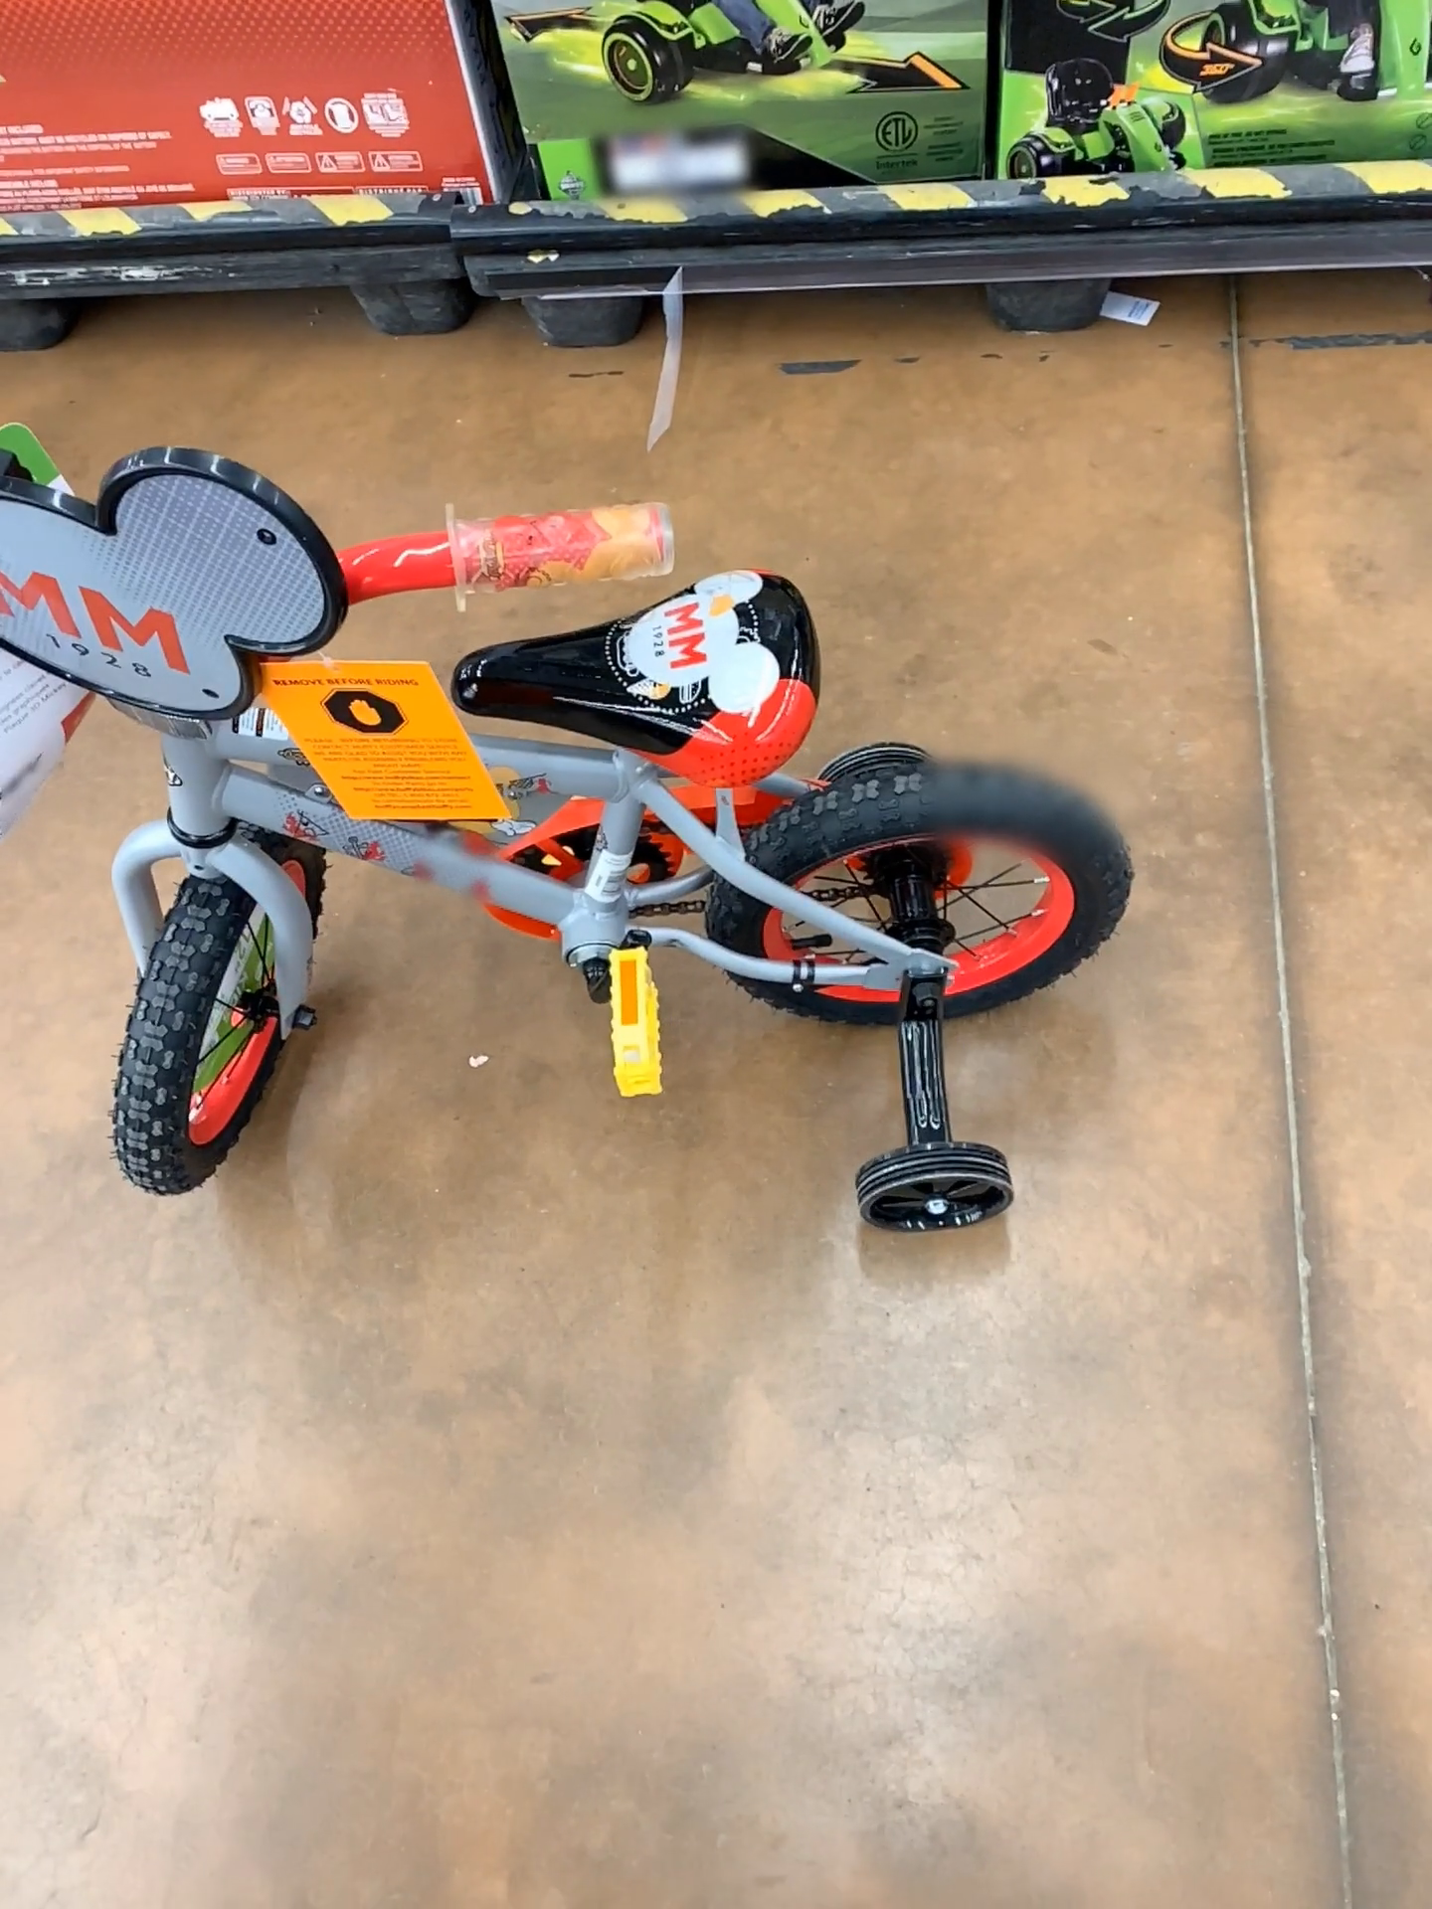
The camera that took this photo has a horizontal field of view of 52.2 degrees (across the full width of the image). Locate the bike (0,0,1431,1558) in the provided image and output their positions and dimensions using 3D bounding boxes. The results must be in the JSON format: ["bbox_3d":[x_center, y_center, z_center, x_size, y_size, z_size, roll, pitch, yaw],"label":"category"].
[{"bbox_3d":[-0.092,-0.051,0.841,0.678,0.742,0.450,-17,57,0],"label":"bike"}]
